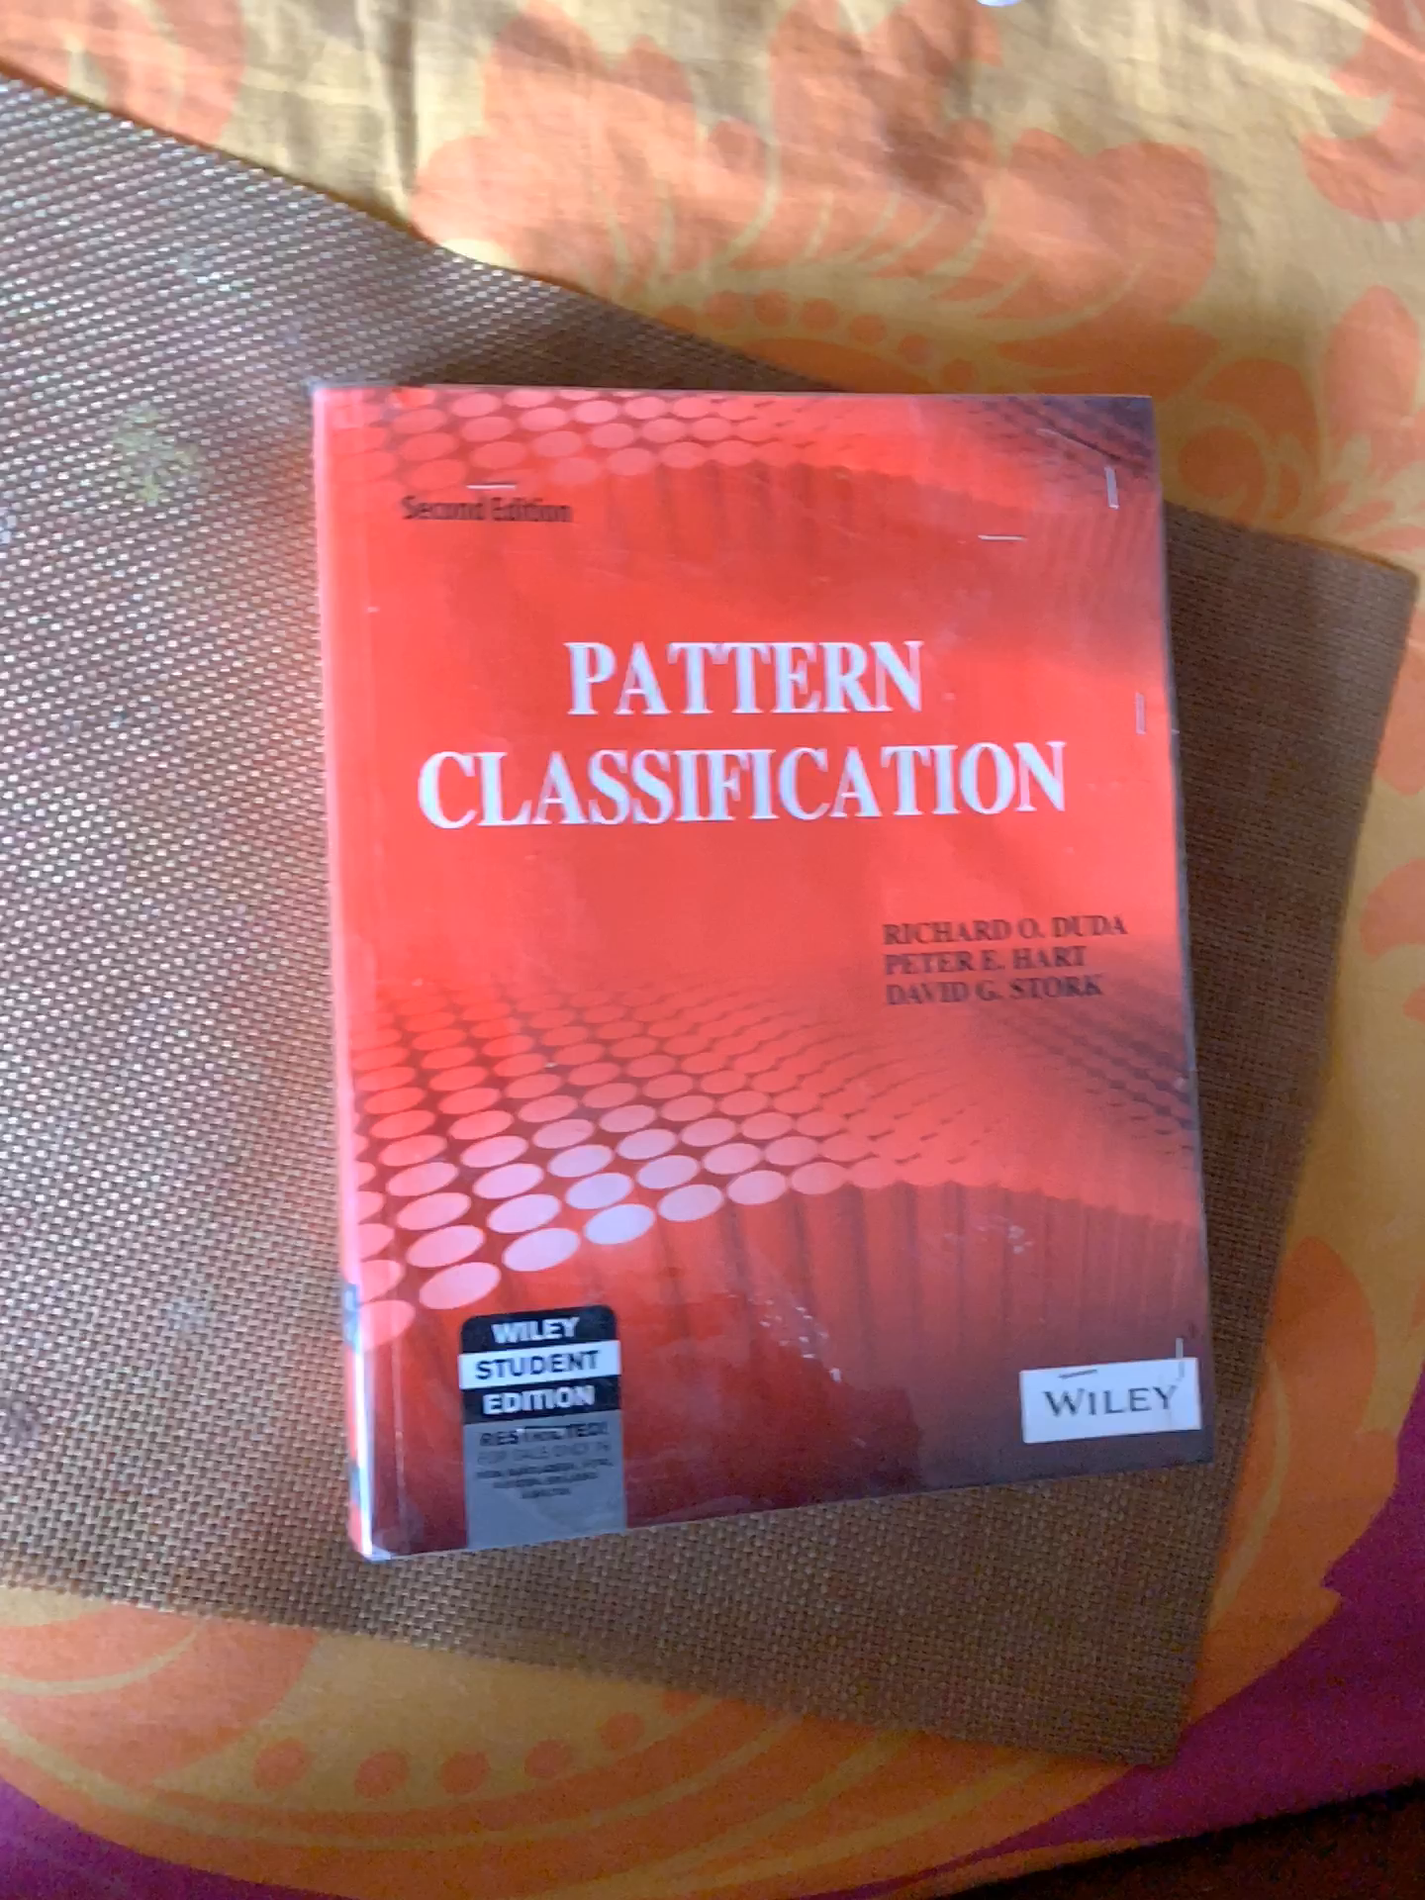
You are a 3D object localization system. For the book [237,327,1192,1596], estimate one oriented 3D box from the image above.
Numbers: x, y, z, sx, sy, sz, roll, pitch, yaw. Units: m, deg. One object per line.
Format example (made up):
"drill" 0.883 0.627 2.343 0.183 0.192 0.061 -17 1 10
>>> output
"book" 0.001 -0.002 0.305 0.180 0.040 0.230 -2 88 -12
